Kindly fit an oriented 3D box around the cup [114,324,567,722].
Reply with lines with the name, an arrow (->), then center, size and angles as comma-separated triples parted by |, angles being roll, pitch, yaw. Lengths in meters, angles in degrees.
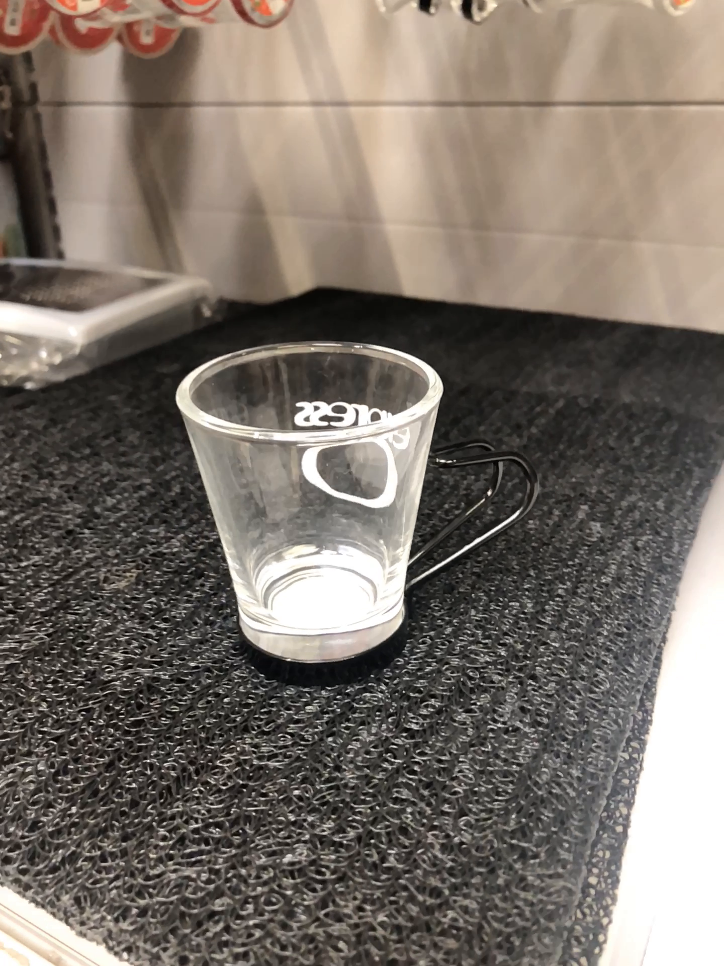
cup -> -0.009, 0.002, 0.202 | 0.087, 0.059, 0.073 | -10, 25, -19
